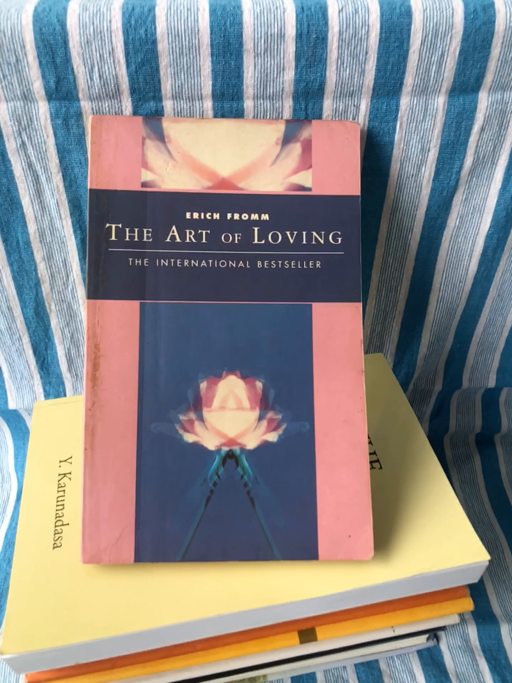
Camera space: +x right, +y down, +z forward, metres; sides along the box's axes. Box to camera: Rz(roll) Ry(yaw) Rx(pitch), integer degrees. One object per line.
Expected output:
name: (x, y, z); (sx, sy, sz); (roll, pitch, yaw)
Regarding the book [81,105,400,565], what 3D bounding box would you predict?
book: (-0.008, -0.006, 0.246); (0.129, 0.015, 0.193); (-1, 85, -1)
